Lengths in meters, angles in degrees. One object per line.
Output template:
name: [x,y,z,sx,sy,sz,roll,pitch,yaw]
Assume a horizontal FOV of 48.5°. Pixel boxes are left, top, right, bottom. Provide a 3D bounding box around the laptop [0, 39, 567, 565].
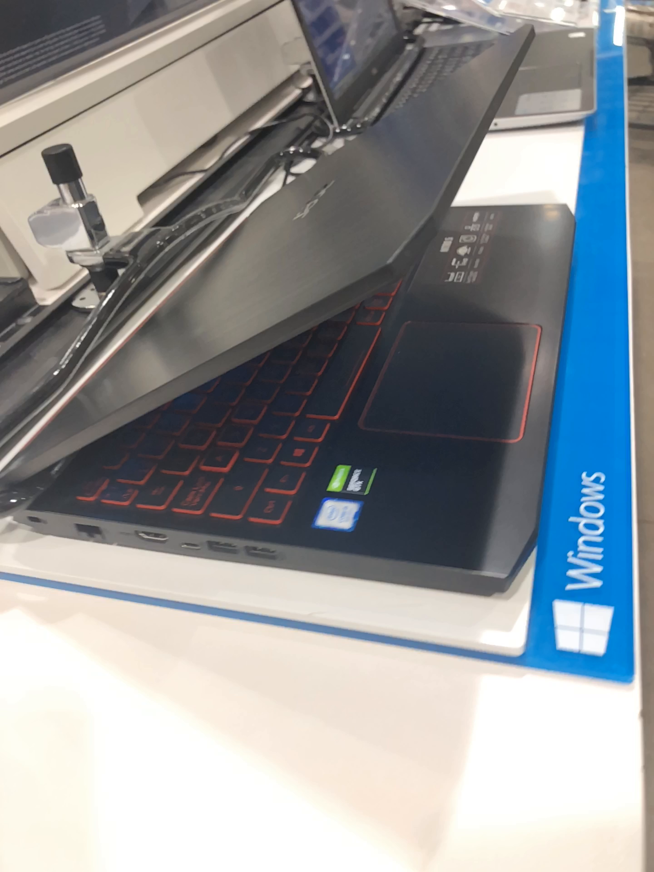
laptop: [0.010,-0.112,0.401,0.218,0.121,0.345,5,38,17]
